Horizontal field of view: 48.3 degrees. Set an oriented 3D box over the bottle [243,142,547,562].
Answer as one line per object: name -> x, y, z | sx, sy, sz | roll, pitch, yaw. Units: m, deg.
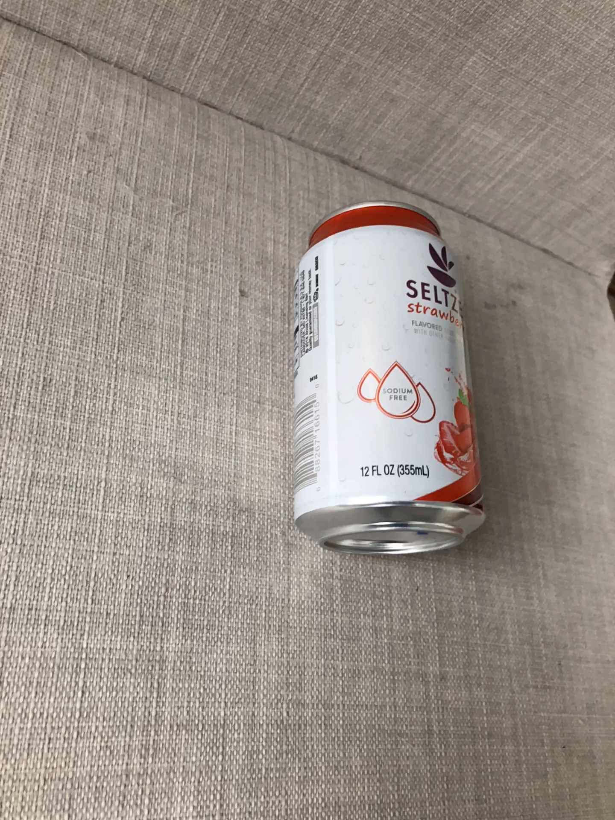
bottle -> 0.027, -0.013, 0.245 | 0.070, 0.069, 0.120 | 13, 67, -30
